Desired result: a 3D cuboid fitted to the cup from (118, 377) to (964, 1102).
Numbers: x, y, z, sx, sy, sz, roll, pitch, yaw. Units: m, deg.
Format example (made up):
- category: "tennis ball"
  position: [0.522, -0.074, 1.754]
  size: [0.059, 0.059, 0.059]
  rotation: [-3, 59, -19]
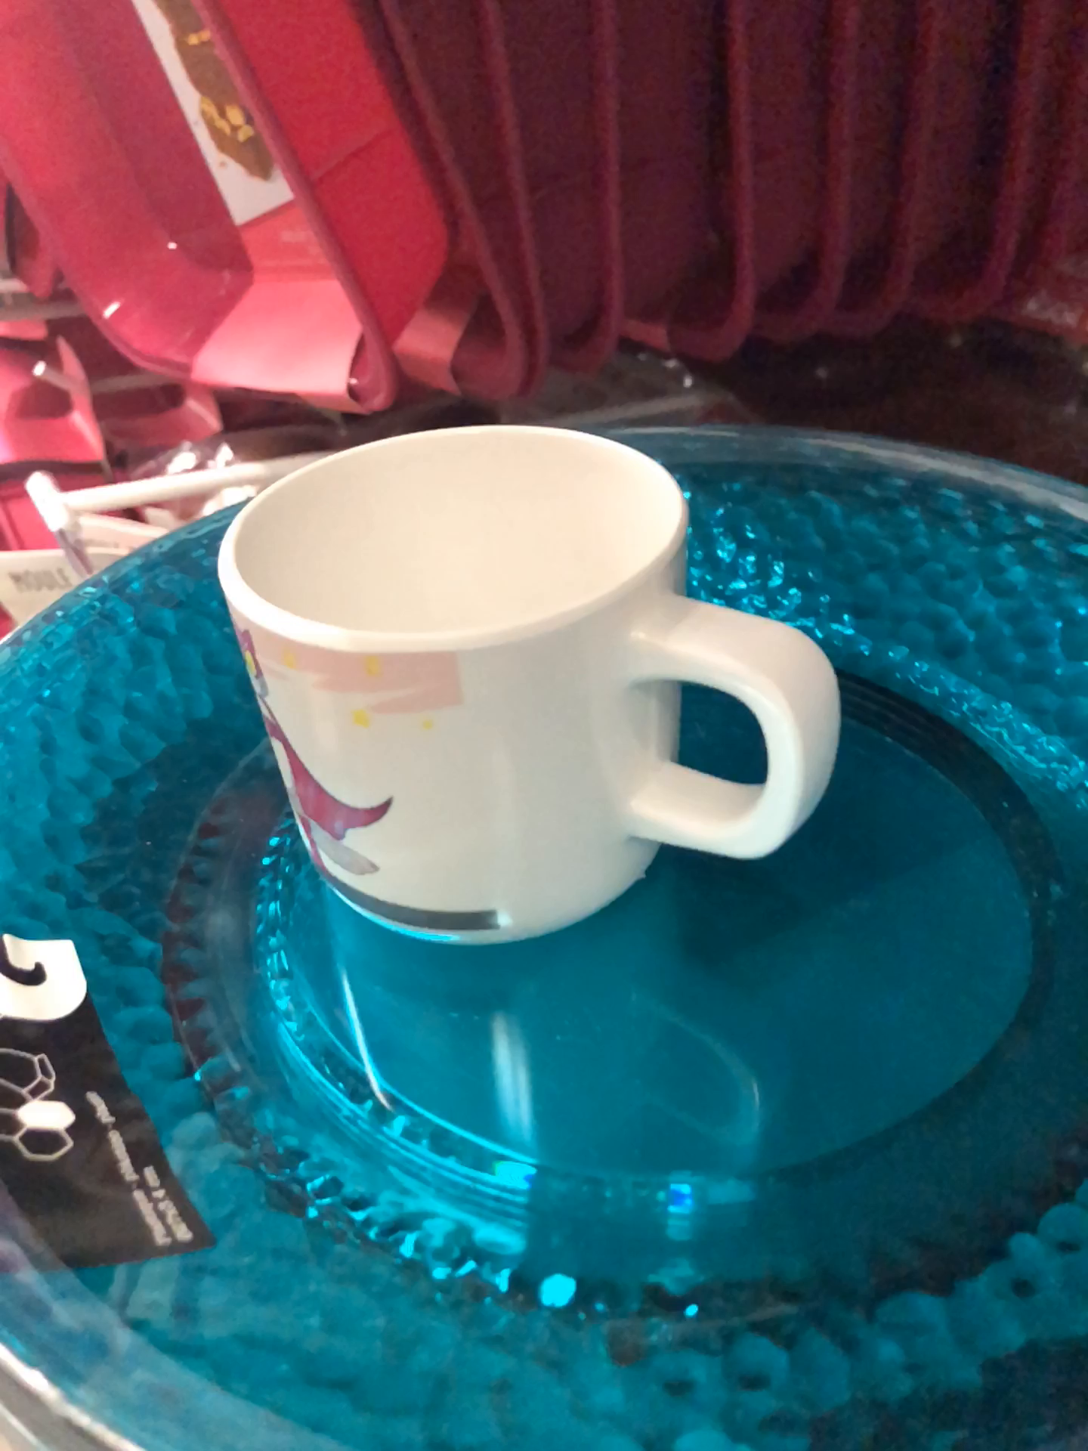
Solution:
- category: "cup"
  position: [0.003, -0.007, 0.199]
  size: [0.102, 0.064, 0.076]
  rotation: [17, 41, 26]
